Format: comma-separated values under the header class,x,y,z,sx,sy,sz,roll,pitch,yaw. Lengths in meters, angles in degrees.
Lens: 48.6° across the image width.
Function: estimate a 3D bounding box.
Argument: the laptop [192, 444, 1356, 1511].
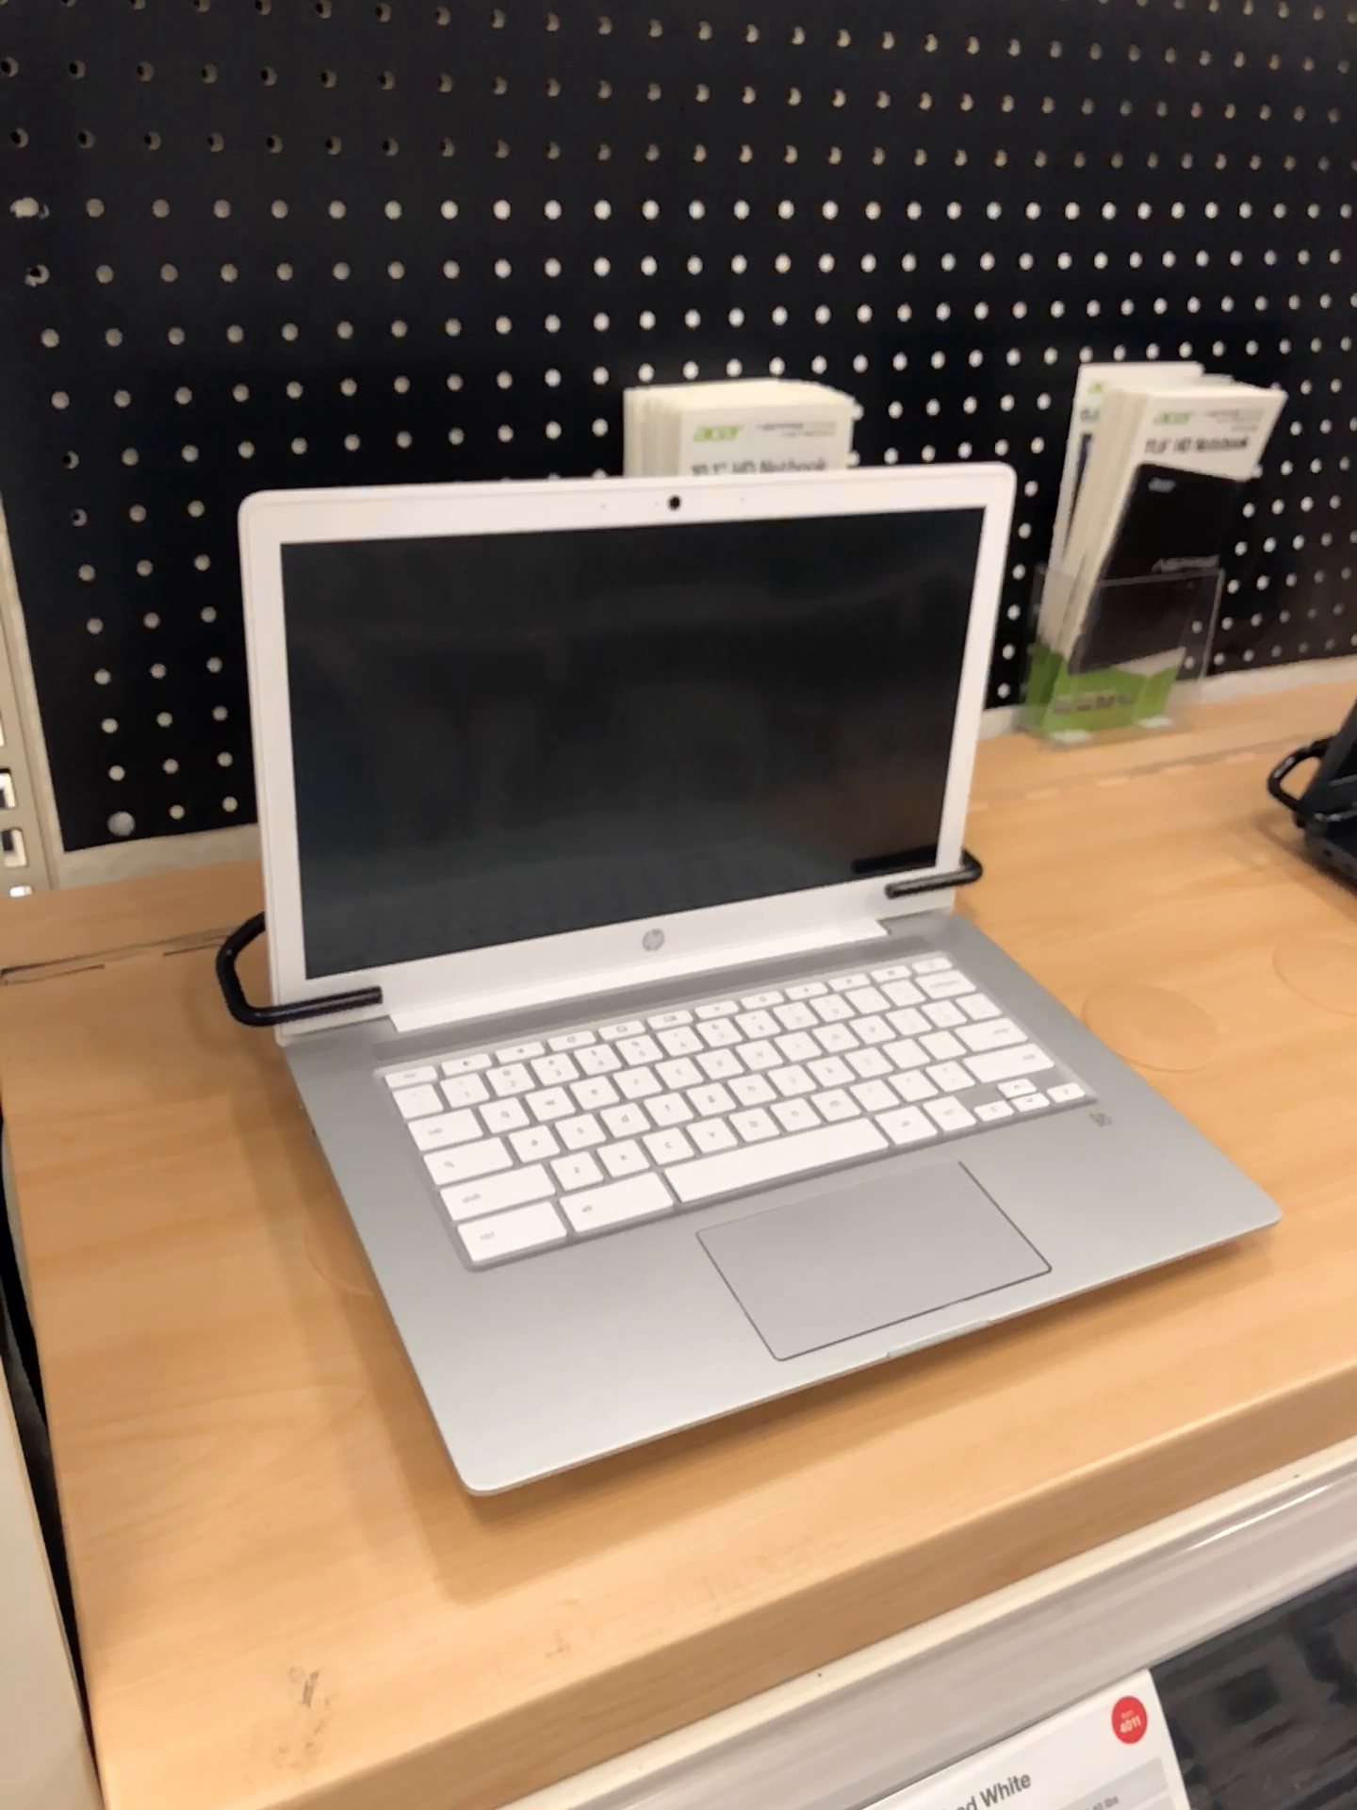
class,x,y,z,sx,sy,sz,roll,pitch,yaw
laptop,0.029,-0.019,0.564,0.333,0.199,0.281,-11,36,-26
